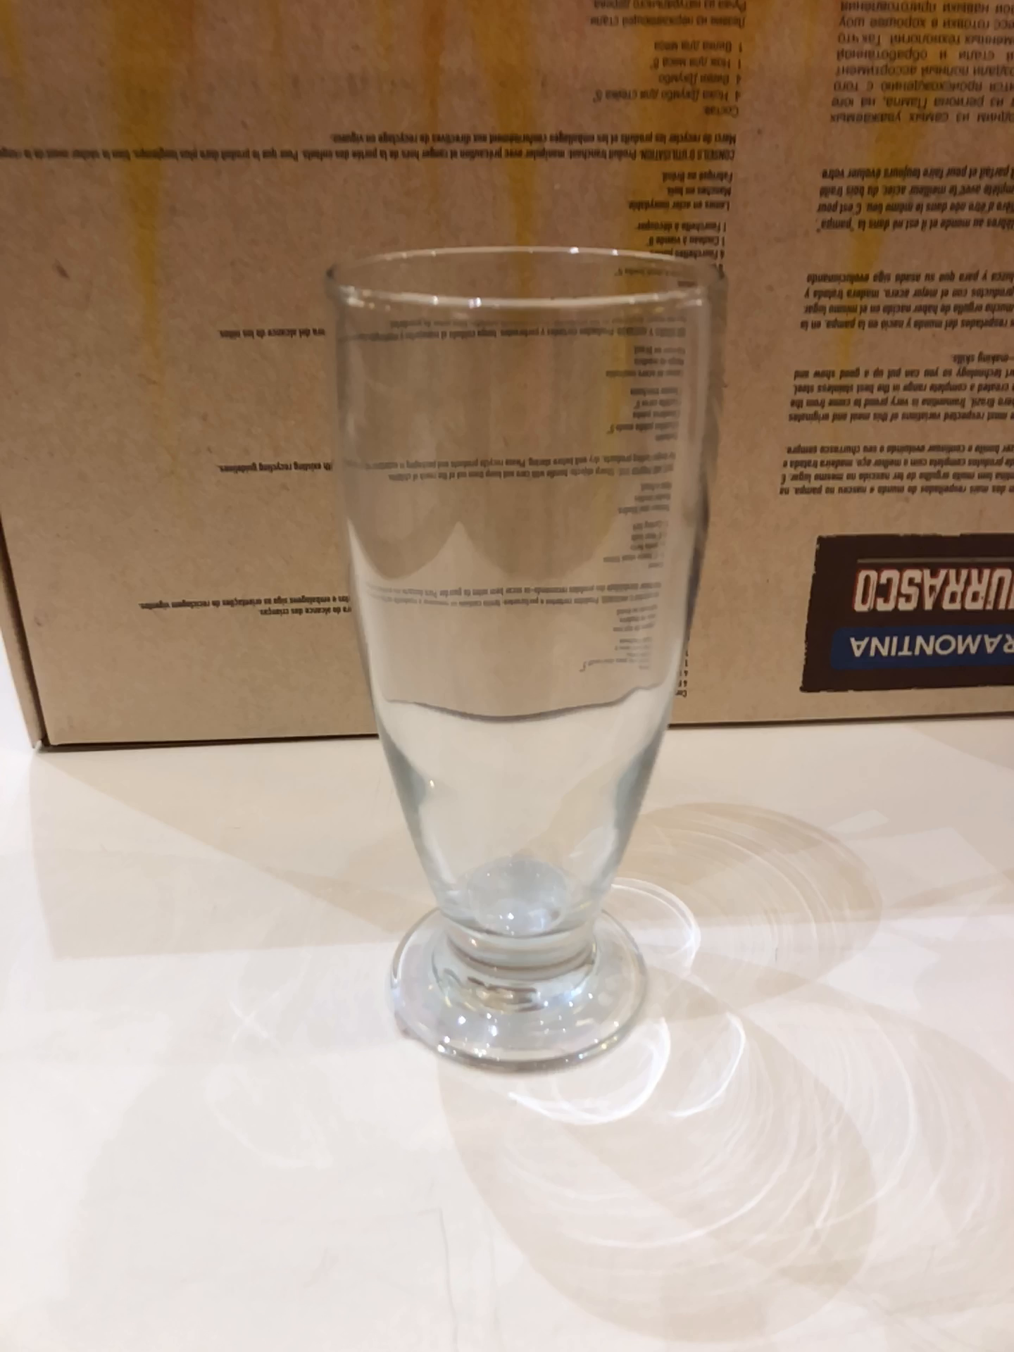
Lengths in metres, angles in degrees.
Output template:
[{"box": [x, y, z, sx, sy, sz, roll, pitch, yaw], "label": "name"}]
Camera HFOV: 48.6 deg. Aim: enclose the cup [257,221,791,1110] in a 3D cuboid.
[{"box": [0.000, -0.002, 0.265, 0.090, 0.189, 0.081, -3, 26, -5], "label": "cup"}]
